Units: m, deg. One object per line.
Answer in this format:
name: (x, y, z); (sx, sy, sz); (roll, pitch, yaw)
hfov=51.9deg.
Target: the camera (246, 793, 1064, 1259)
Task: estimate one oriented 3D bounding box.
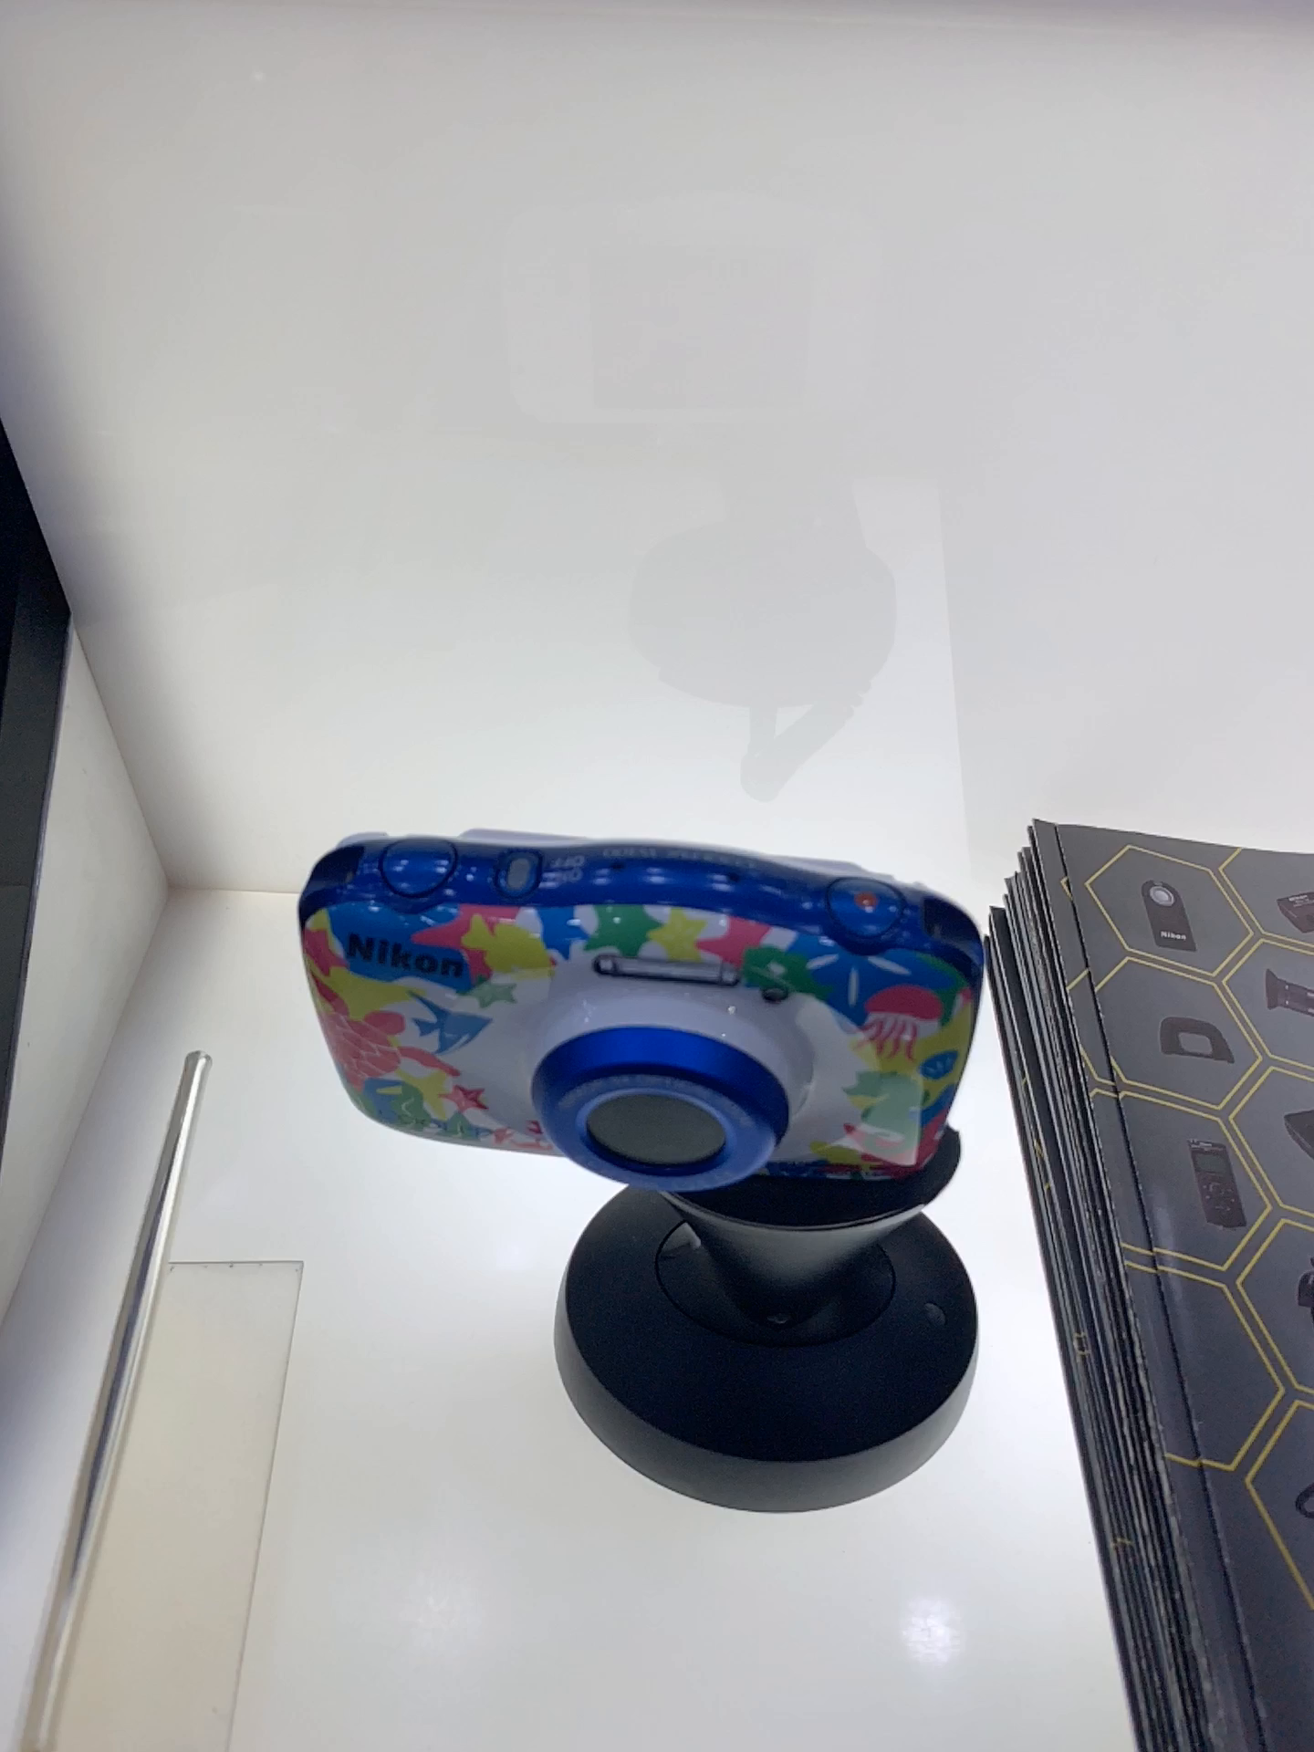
camera: (0.000, 0.027, 0.232); (0.120, 0.060, 0.040); (6, 47, 4)
